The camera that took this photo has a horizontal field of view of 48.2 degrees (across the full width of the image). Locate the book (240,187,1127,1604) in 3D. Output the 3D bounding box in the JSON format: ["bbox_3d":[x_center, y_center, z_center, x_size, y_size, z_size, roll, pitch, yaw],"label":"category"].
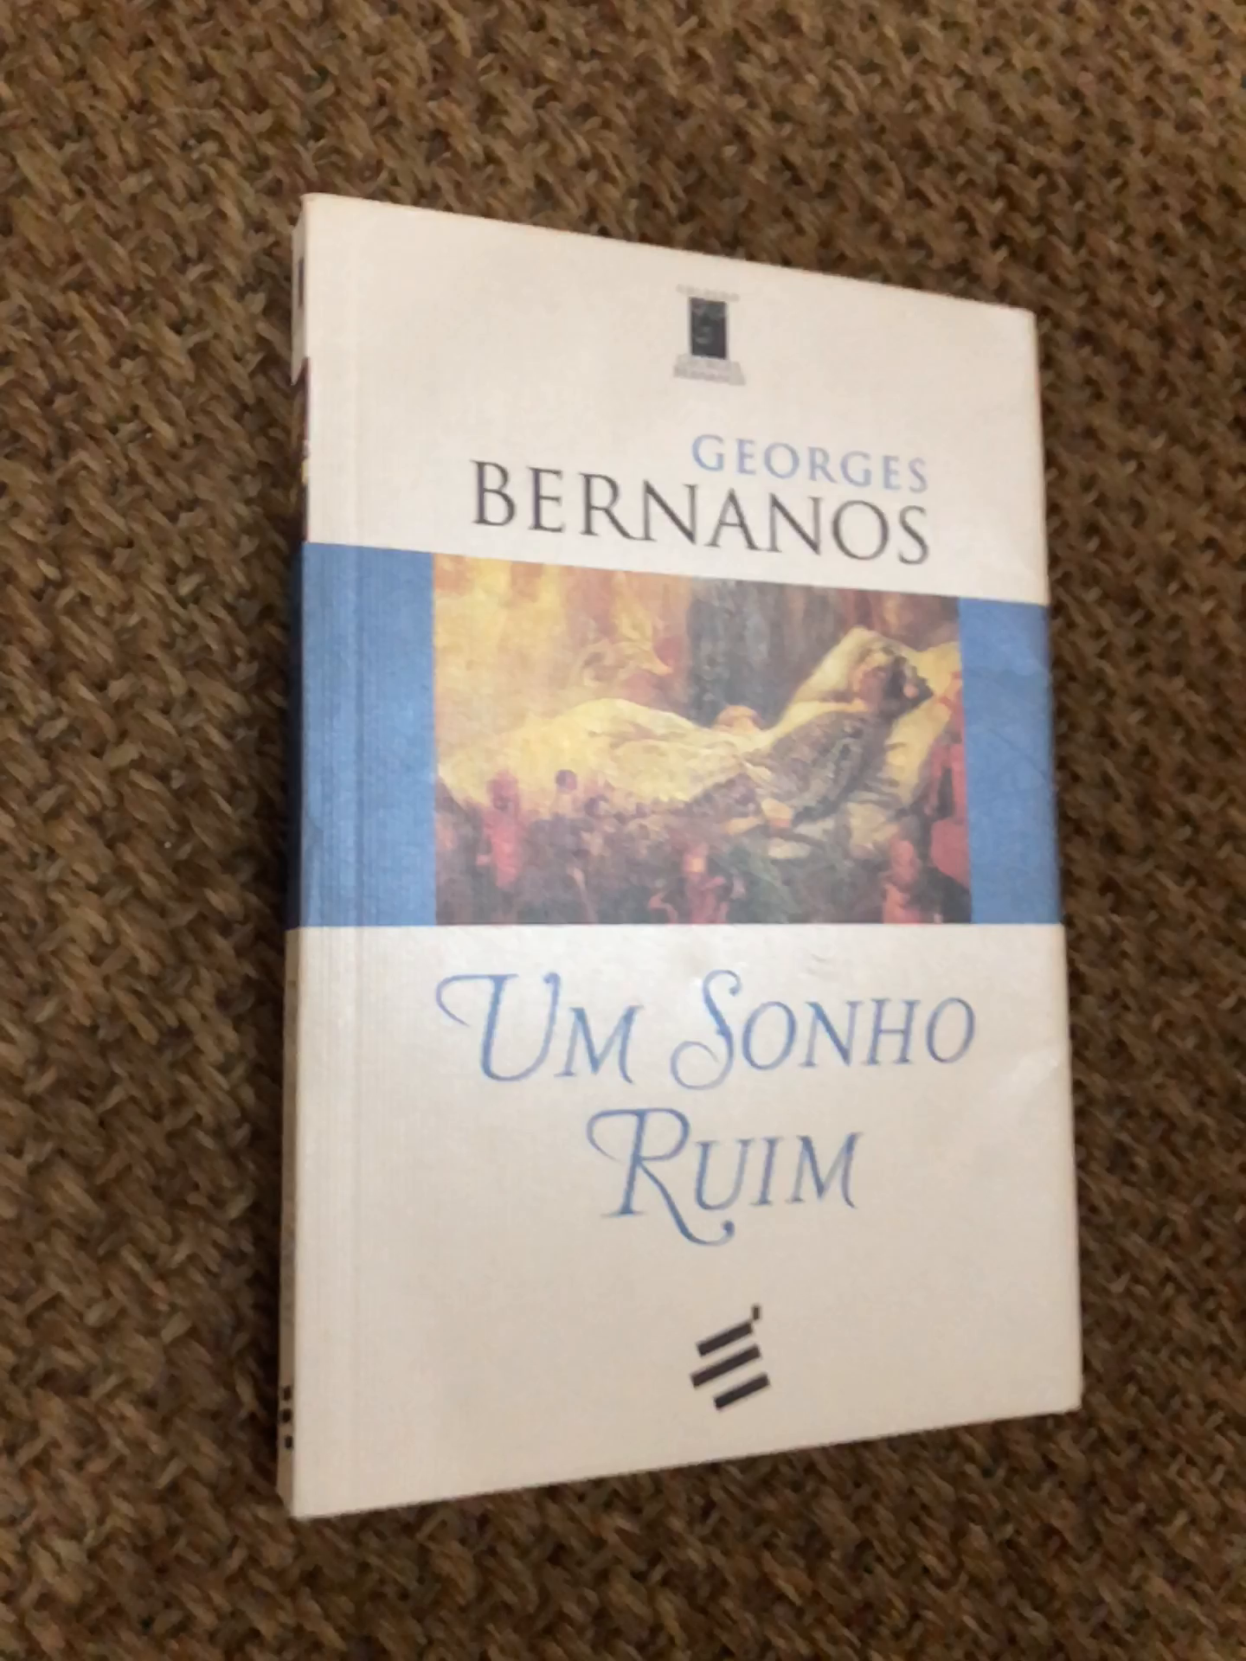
[{"bbox_3d":[0.012,0.006,0.228,0.140,0.020,0.199,1,83,-19],"label":"book"}]
